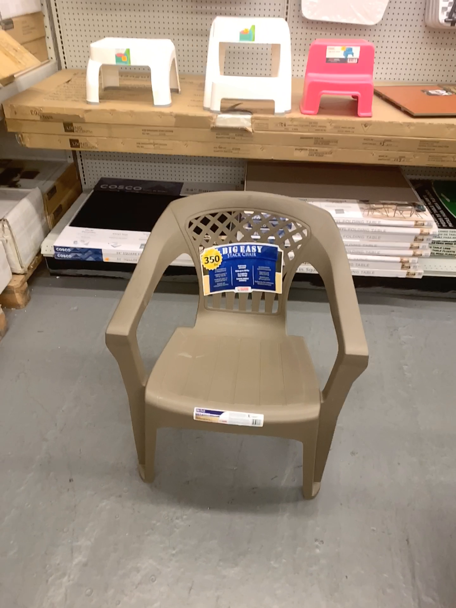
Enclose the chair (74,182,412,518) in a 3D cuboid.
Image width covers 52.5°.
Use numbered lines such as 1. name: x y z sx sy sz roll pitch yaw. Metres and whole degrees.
1. chair: 0.044 0.149 1.537 0.766 0.878 0.590 4 36 4
